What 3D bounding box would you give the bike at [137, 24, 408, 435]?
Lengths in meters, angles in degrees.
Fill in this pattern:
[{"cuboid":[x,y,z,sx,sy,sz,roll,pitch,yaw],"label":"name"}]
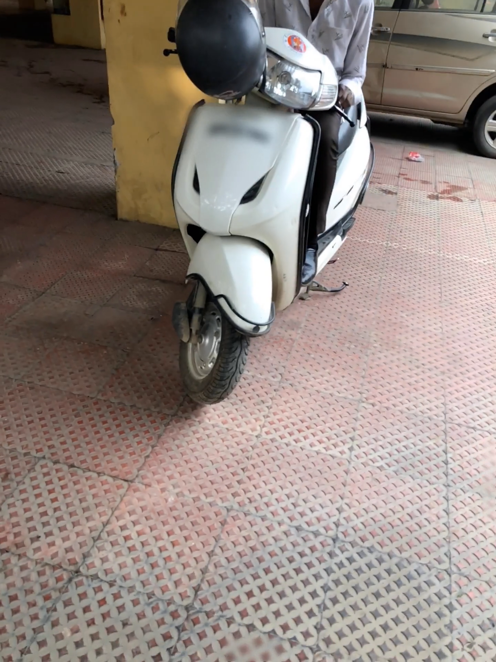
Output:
[{"cuboid":[0.171,-0.548,2.257,0.656,1.107,1.399,12,35,12],"label":"bike"}]
